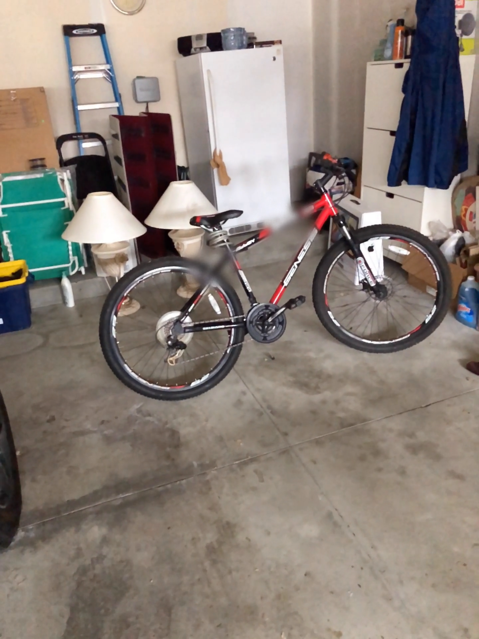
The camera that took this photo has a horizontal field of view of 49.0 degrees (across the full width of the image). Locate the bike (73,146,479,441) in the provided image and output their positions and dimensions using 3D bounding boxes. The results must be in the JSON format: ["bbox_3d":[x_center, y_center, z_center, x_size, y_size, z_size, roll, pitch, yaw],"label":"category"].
[{"bbox_3d":[0.206,-0.167,2.484,1.667,1.053,0.592,-9,24,-9],"label":"bike"}]
